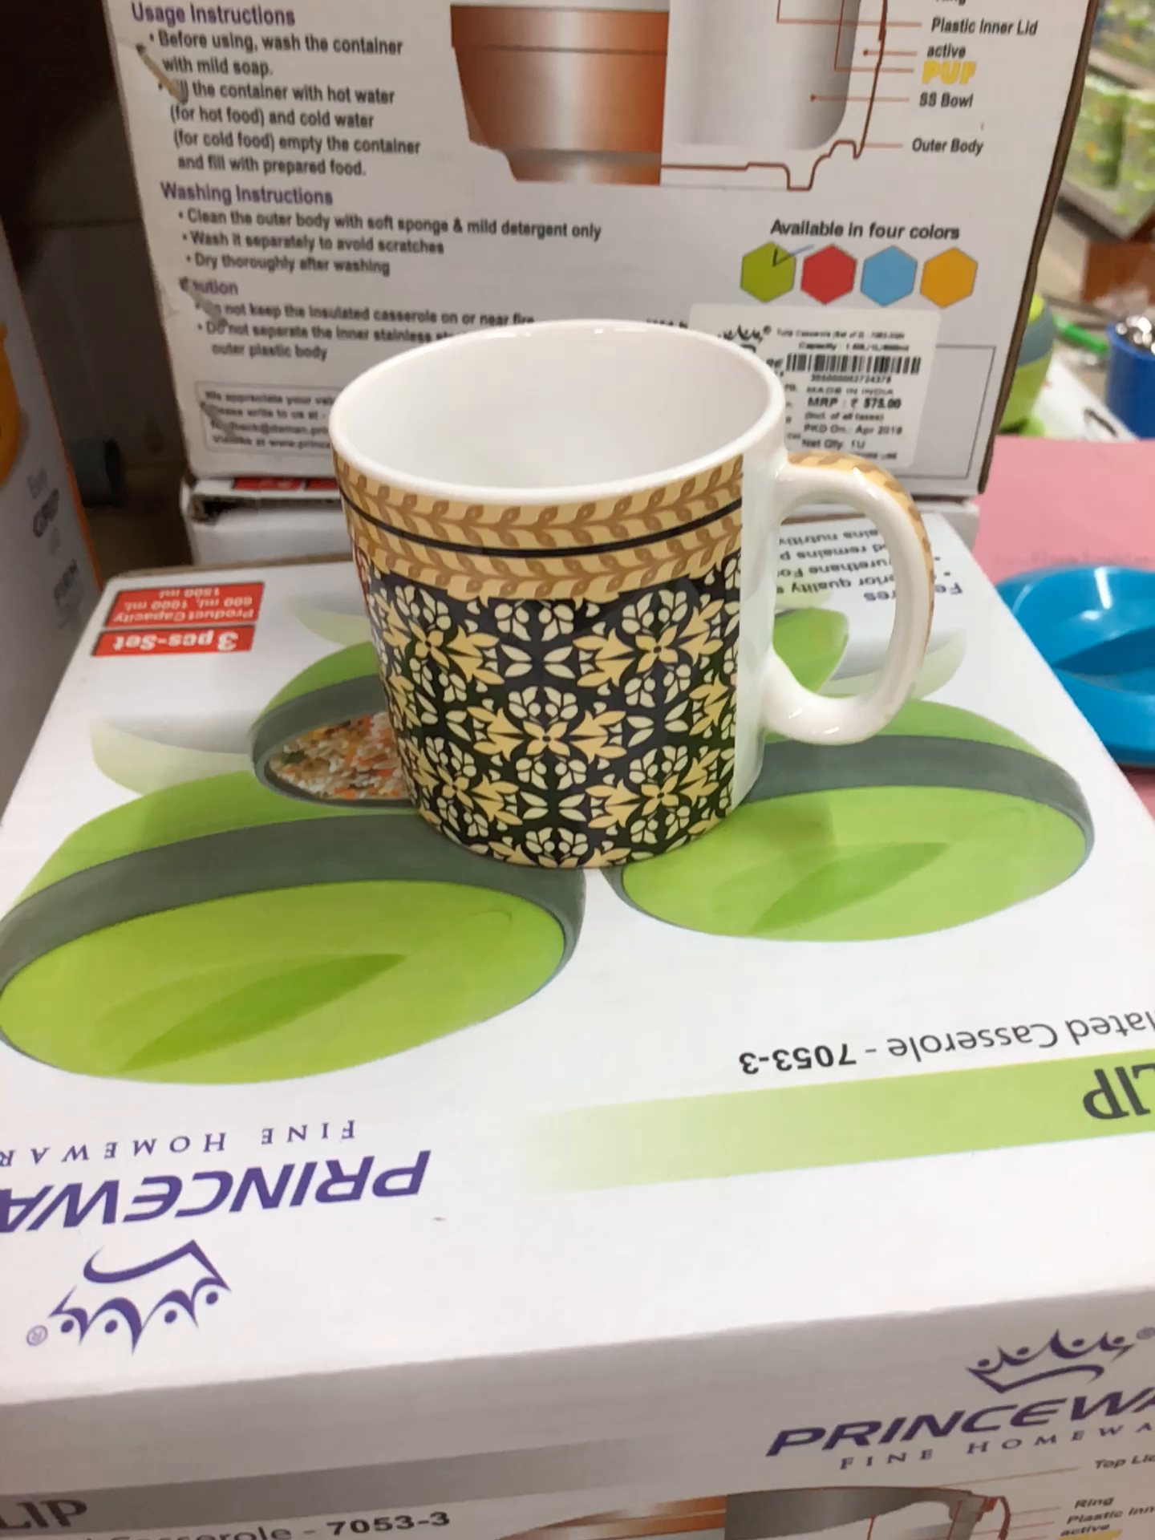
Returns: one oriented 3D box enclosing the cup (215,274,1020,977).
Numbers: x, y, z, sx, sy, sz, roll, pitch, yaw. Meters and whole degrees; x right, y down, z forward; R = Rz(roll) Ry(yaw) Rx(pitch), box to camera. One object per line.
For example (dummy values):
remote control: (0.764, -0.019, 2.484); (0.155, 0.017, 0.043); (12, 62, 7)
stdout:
cup: (0.013, -0.029, 0.225); (0.110, 0.089, 0.071); (7, 37, 15)
